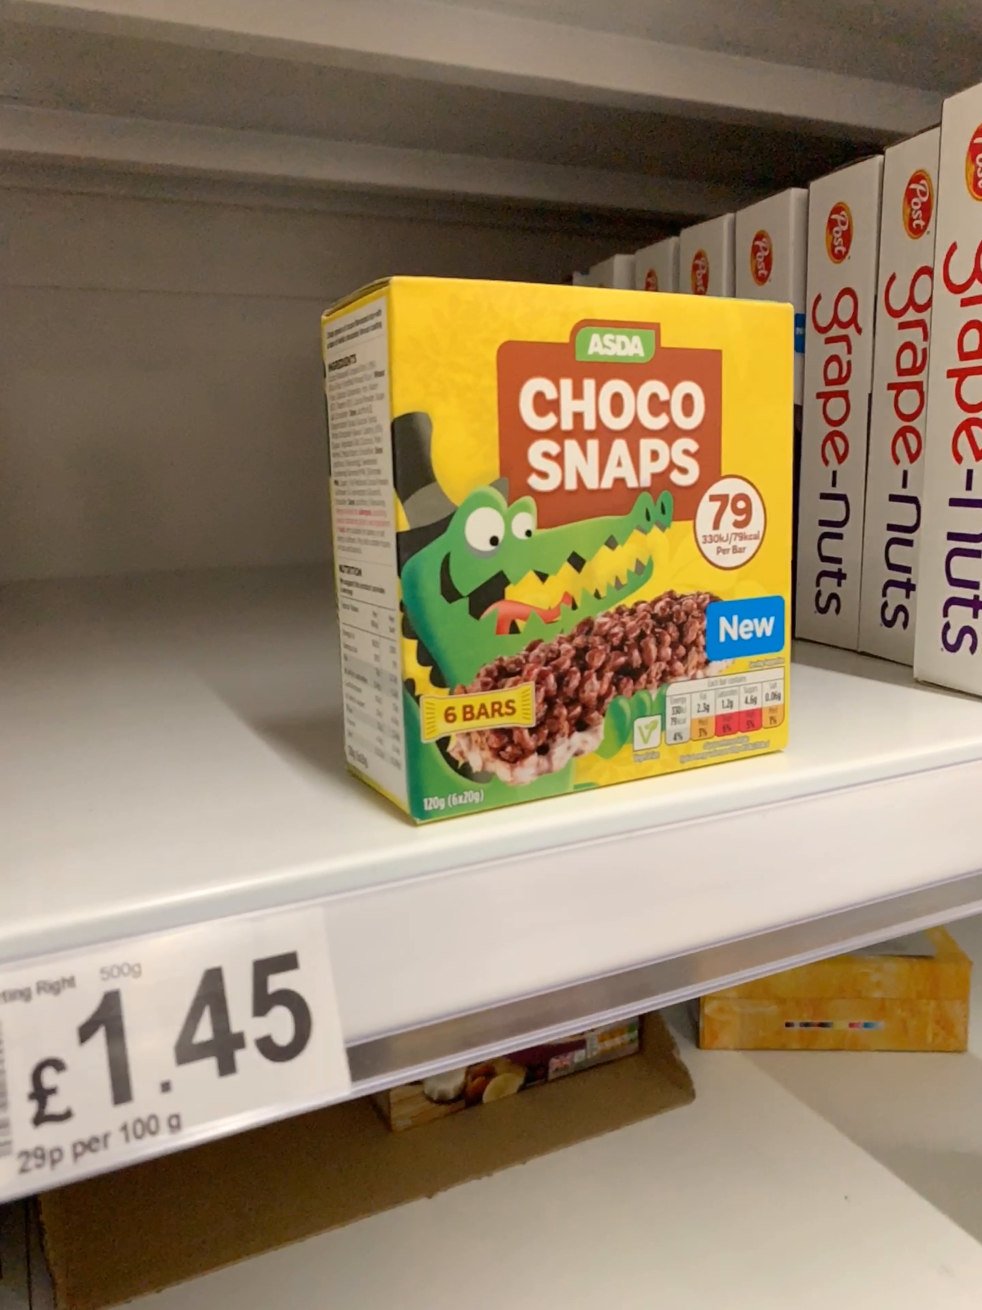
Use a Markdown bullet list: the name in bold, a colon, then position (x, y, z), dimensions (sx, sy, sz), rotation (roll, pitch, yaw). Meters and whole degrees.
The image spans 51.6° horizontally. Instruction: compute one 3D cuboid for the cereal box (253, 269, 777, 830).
- **cereal box**: position (0.008, -0.034, 0.297), dimensions (0.130, 0.130, 0.070), rotation (-7, 11, -29)
